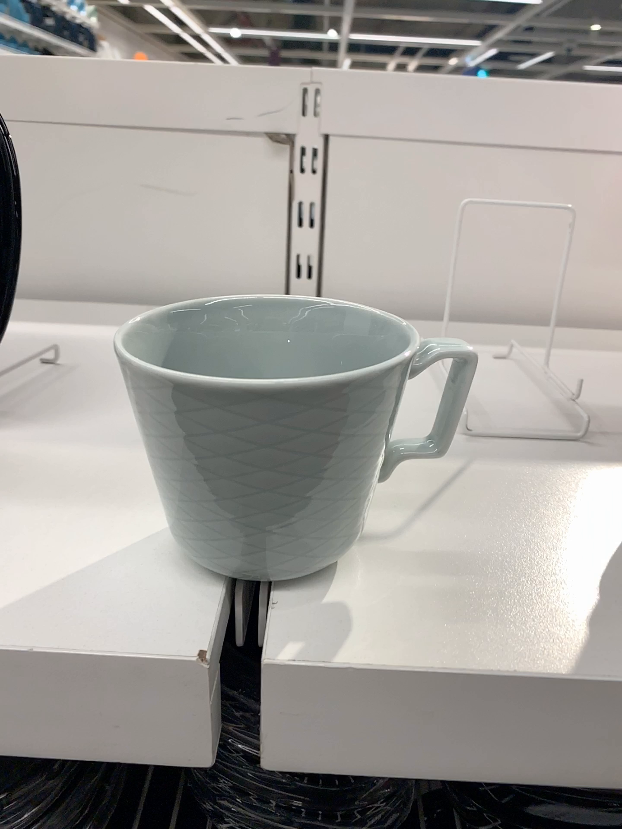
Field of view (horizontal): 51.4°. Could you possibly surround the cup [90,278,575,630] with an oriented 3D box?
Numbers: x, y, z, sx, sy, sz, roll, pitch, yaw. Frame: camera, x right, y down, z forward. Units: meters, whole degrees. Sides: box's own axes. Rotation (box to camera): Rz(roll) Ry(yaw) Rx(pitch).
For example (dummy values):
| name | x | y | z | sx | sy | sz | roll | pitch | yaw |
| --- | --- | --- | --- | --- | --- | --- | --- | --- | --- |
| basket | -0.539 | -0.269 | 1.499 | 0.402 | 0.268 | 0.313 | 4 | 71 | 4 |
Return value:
| name | x | y | z | sx | sy | sz | roll | pitch | yaw |
| --- | --- | --- | --- | --- | --- | --- | --- | --- | --- |
| cup | 0.001 | -0.001 | 0.228 | 0.130 | 0.070 | 0.100 | -8 | 25 | -26 |
